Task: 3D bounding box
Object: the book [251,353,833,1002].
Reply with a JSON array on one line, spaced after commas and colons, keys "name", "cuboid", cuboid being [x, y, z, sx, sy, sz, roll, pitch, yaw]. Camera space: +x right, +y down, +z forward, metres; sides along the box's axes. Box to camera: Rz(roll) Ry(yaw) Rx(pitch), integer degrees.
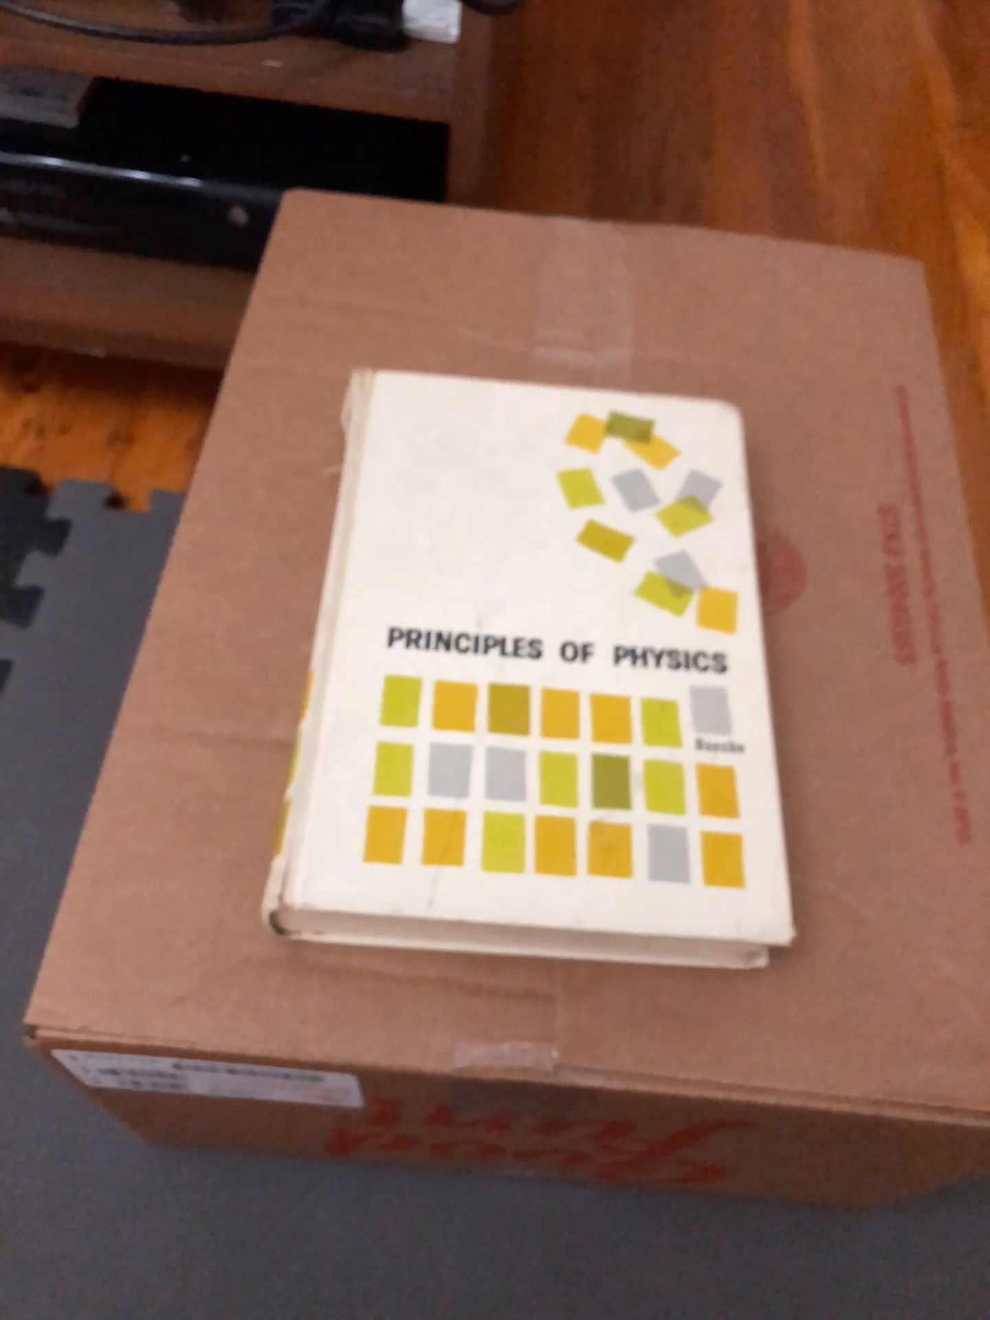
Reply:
[{"name": "book", "cuboid": [0.021, -0.007, 0.426, 0.180, 0.040, 0.251, 5, 58, -1]}]
